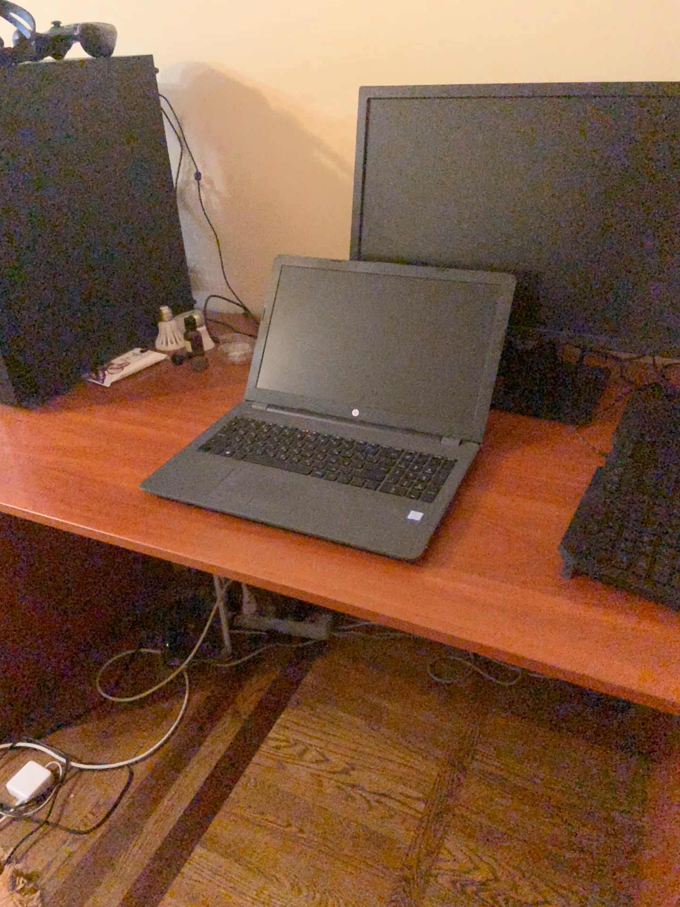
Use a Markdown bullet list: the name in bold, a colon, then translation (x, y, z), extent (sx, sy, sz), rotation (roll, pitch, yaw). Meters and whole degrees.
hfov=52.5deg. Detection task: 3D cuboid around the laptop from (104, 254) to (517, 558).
- **laptop**: translation (-0.008, -0.100, 0.898), extent (0.372, 0.188, 0.393), rotation (11, 34, 22)
